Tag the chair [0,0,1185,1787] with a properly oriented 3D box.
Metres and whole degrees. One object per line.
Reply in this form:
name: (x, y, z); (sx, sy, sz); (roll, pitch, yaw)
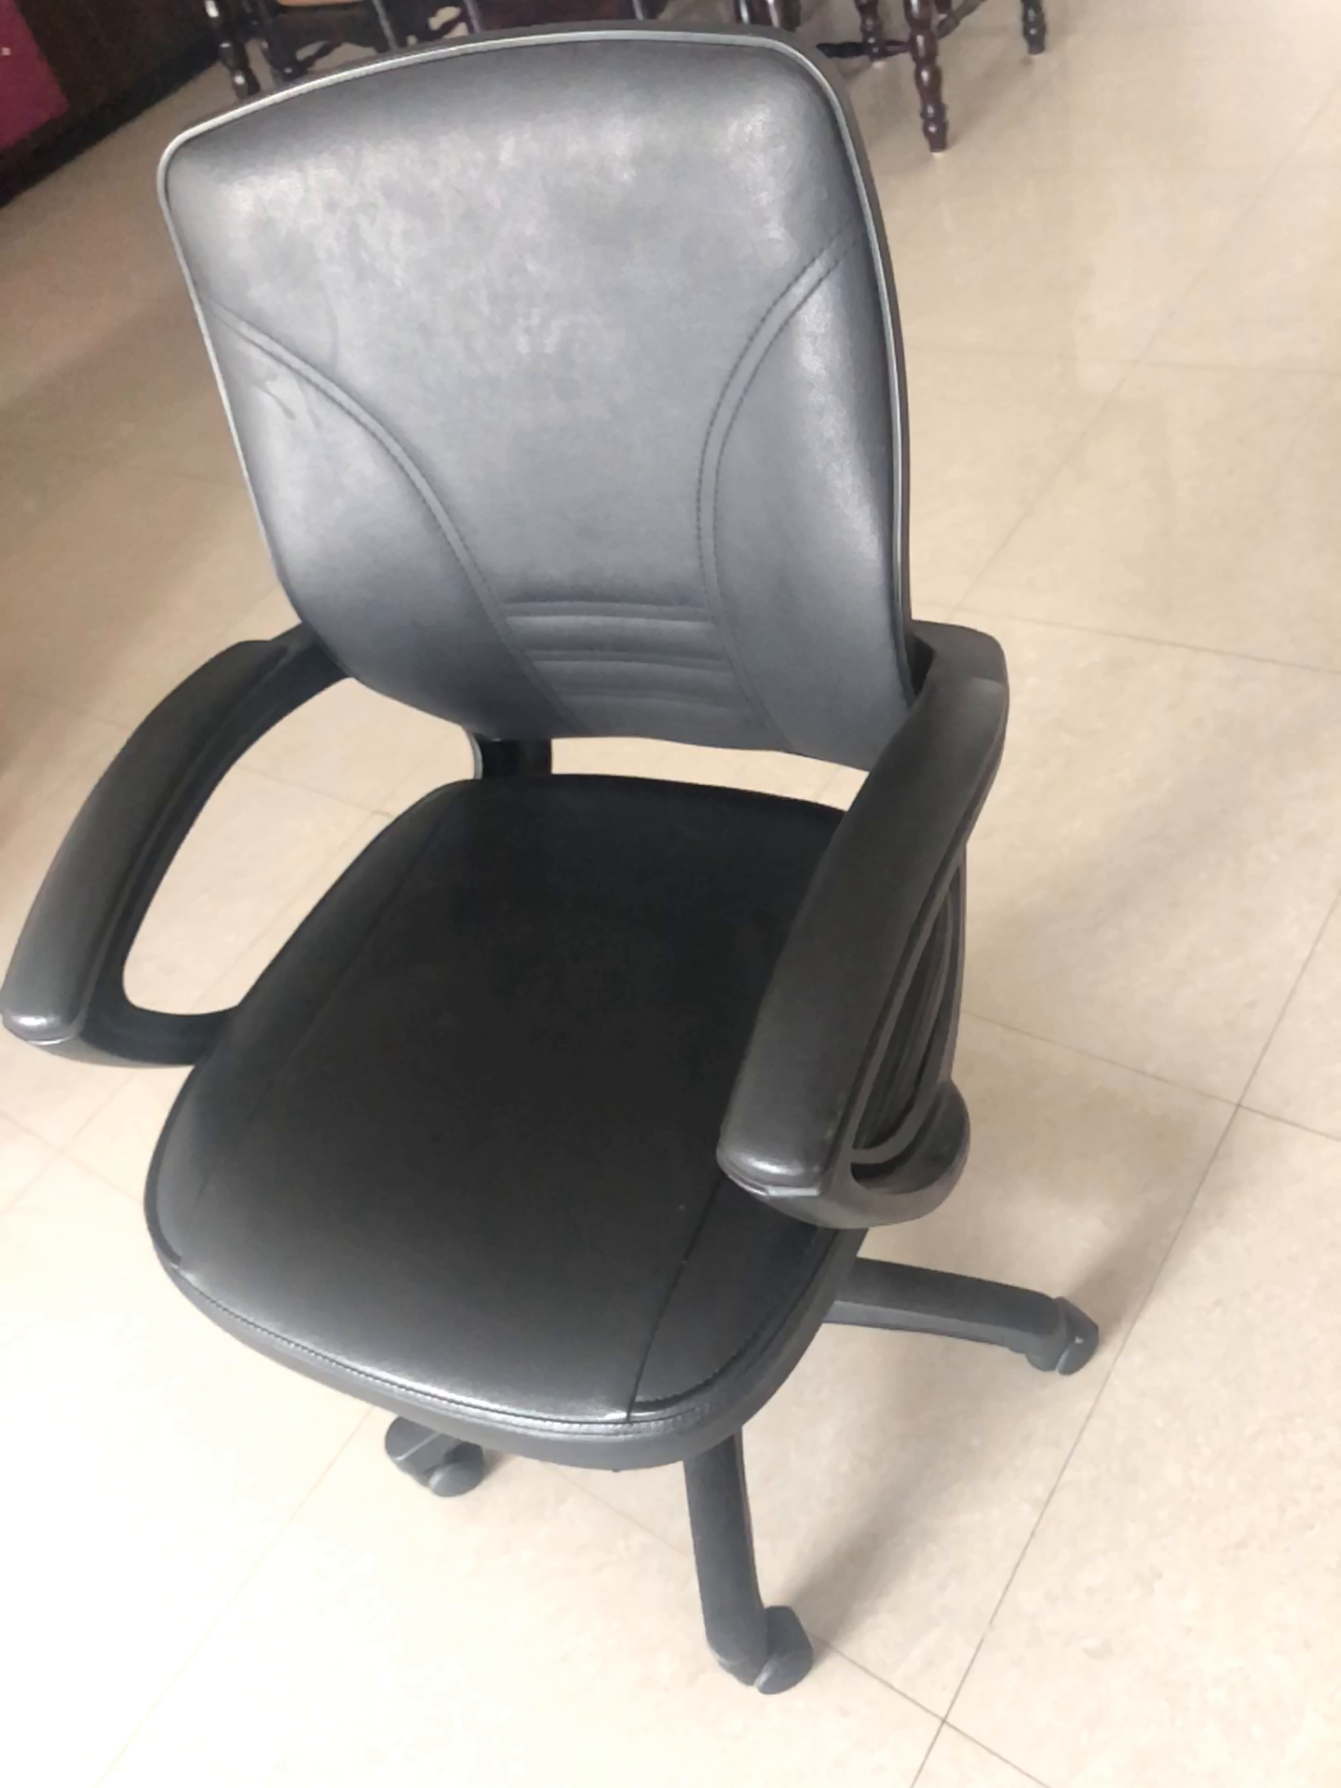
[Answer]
chair: (-0.106, 0.048, 0.987); (0.702, 0.953, 0.633); (9, 53, 29)
